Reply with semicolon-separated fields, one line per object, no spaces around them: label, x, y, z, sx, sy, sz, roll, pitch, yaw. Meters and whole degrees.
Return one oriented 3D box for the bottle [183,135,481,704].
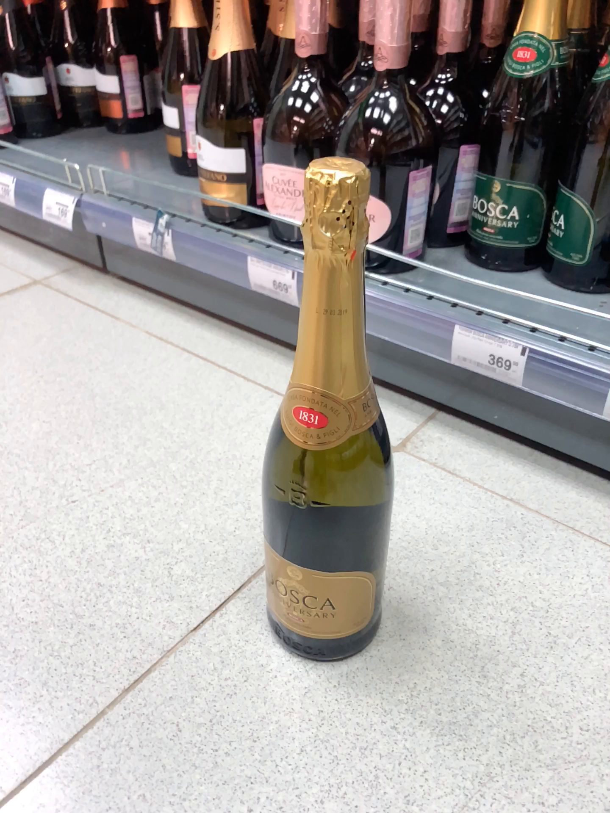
bottle;0.015;0.020;0.400;0.100;0.314;0.100;0;34;0
